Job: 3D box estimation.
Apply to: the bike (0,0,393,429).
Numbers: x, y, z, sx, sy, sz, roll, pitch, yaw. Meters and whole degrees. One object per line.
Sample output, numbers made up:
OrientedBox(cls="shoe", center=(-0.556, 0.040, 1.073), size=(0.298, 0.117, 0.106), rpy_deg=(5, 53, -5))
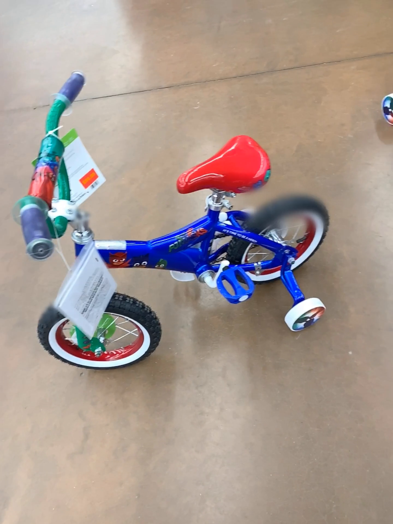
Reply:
OrientedBox(cls="bike", center=(-0.065, -0.086, 0.896), size=(0.775, 0.670, 0.461), rpy_deg=(-24, 55, -6))
